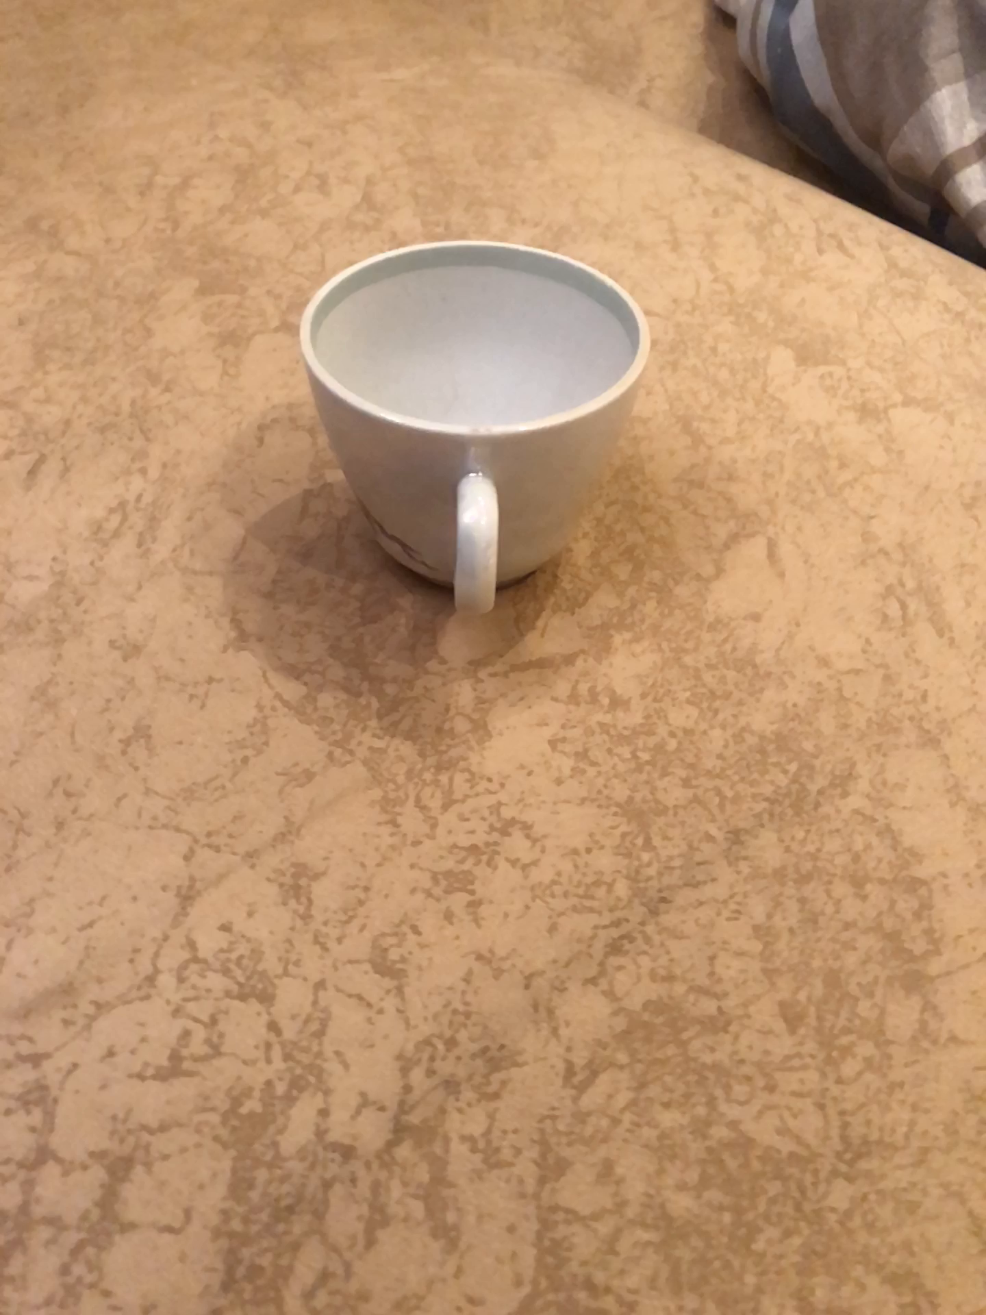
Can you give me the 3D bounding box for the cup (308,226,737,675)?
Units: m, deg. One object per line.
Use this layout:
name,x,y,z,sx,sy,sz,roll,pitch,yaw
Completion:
cup,0.001,-0.058,0.287,0.090,0.060,0.110,-2,48,-6
